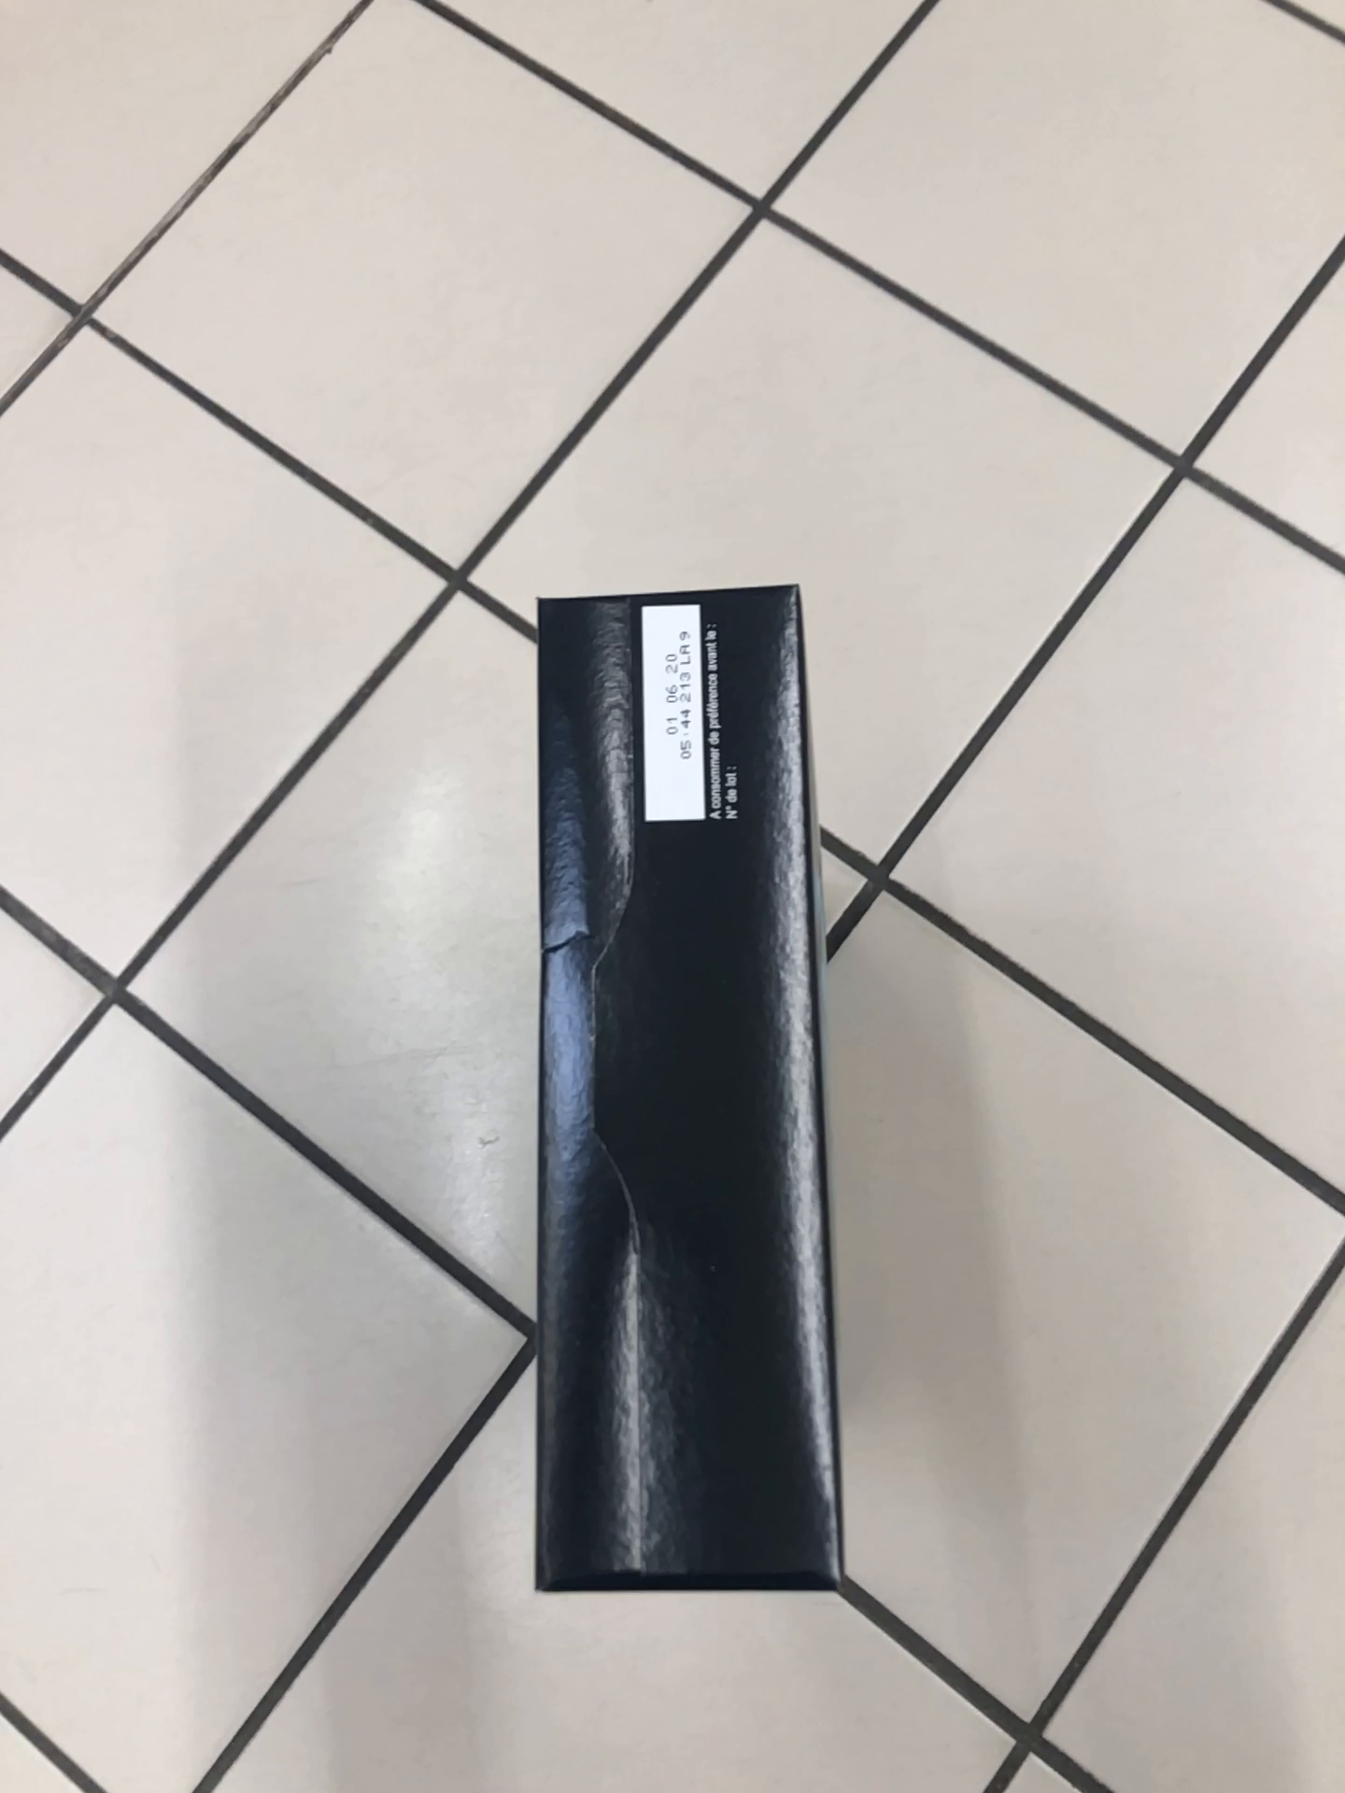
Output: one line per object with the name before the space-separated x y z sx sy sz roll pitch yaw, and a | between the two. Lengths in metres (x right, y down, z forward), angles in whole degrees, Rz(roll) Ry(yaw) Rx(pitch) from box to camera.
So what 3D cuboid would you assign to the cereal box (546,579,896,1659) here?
cereal box | 0.014 0.064 0.405 0.060 0.260 0.200 -2 77 3
